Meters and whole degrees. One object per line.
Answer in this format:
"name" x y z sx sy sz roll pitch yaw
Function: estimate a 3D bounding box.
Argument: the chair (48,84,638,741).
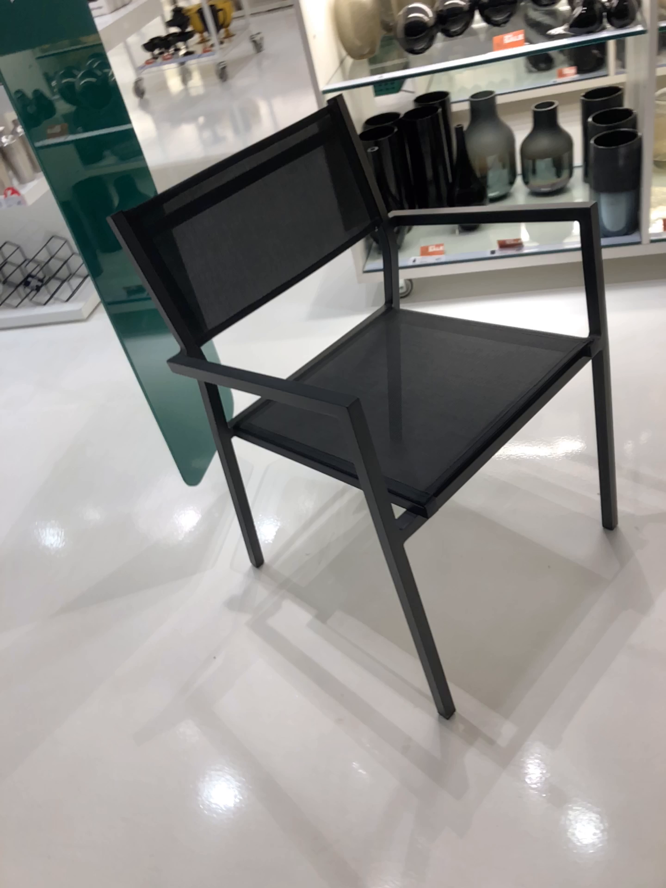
"chair" 0.076 -0.088 1.248 0.572 0.793 0.603 -40 44 -27
